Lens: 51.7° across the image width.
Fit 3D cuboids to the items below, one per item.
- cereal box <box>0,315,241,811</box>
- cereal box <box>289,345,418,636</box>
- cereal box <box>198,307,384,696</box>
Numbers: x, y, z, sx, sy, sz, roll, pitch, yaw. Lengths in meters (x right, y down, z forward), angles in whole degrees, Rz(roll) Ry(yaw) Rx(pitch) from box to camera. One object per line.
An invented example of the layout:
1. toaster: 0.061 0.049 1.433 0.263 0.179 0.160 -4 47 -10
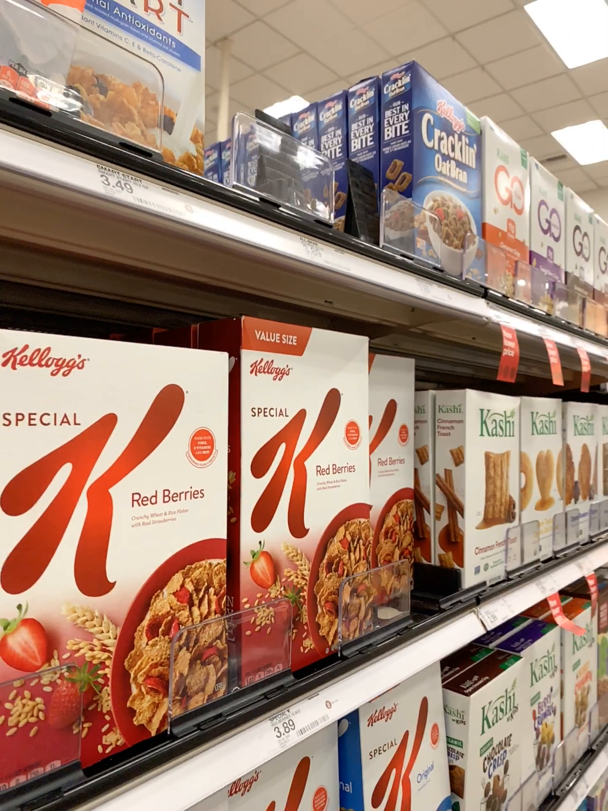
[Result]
1. cereal box: -0.141 0.095 0.463 0.060 0.290 0.200 0 -2 38
2. cereal box: 0.071 0.099 0.814 0.060 0.330 0.200 0 -3 38
3. cereal box: -0.003 0.080 0.615 0.060 0.320 0.200 -1 -3 39
